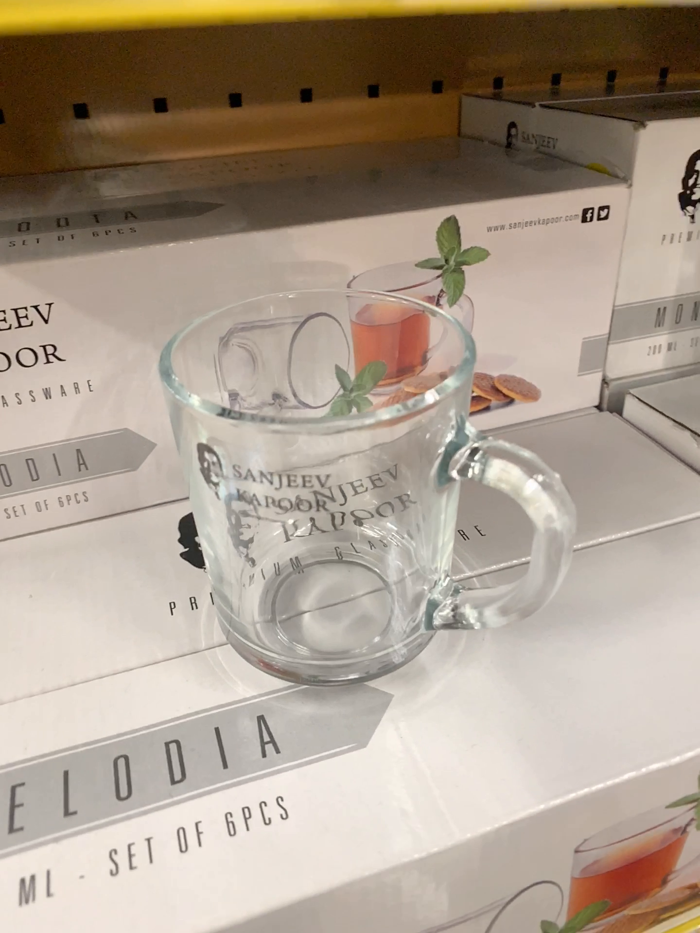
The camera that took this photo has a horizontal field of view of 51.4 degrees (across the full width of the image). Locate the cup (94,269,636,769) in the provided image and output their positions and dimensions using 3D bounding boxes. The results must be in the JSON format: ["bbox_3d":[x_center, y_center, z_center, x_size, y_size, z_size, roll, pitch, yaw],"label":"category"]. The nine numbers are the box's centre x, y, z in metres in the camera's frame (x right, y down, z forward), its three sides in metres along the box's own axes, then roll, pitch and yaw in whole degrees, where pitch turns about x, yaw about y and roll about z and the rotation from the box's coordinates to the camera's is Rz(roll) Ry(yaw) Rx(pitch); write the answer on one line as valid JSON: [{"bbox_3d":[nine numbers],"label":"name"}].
[{"bbox_3d":[0.009,0.005,0.177,0.100,0.080,0.070,9,33,17],"label":"cup"}]
